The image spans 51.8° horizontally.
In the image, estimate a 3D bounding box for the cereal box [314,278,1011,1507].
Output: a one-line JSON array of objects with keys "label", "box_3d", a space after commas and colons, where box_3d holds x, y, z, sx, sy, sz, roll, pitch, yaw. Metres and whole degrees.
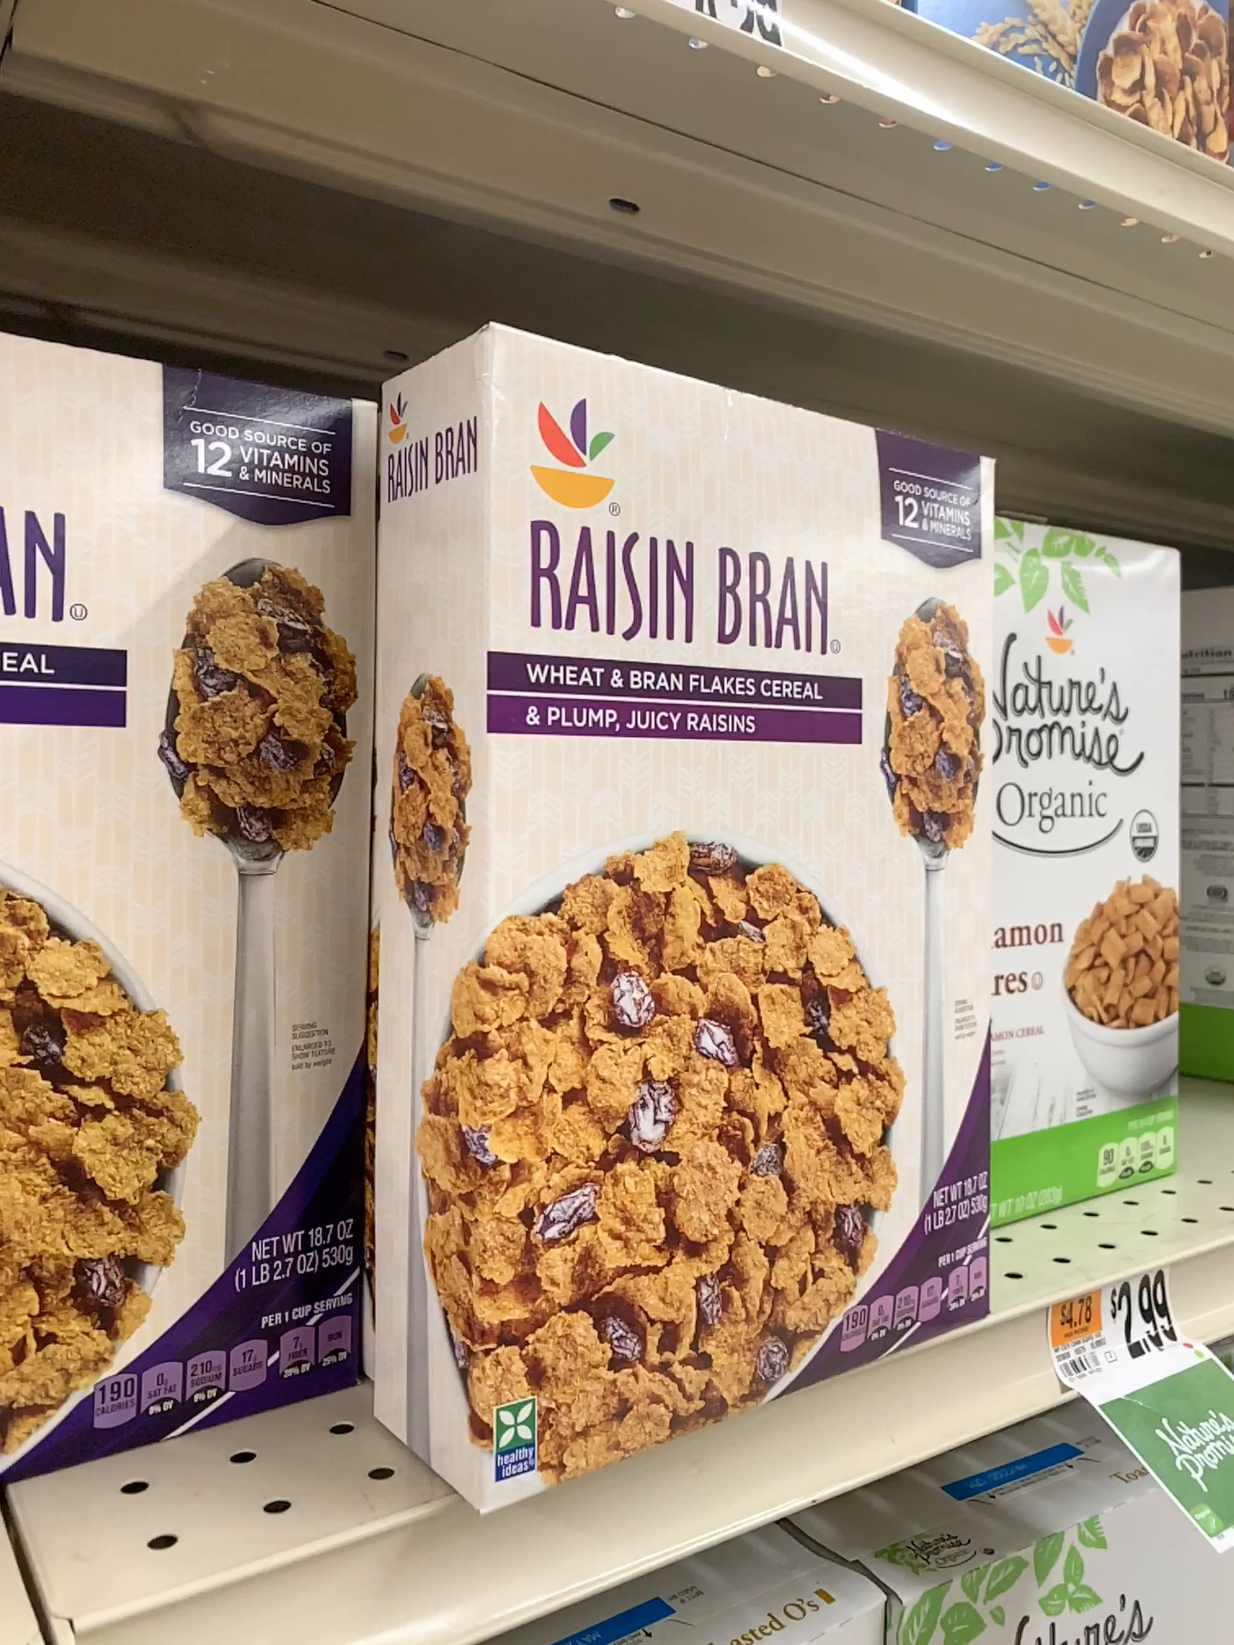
[{"label": "cereal box", "box_3d": [0.020, 0.015, 0.363, 0.190, 0.270, 0.070, 0, 3, -37]}]
